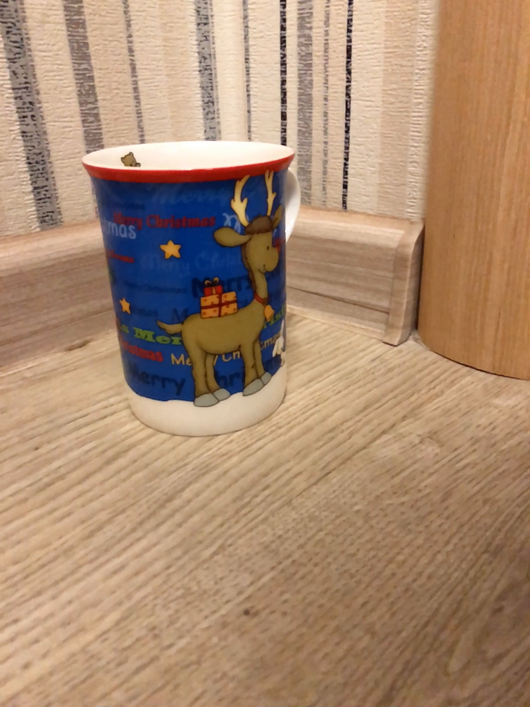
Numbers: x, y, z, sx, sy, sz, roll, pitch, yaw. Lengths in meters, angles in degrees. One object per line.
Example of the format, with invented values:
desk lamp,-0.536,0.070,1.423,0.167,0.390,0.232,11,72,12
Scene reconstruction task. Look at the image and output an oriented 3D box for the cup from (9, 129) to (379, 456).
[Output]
cup,-0.019,-0.039,0.249,0.087,0.094,0.121,14,29,31
